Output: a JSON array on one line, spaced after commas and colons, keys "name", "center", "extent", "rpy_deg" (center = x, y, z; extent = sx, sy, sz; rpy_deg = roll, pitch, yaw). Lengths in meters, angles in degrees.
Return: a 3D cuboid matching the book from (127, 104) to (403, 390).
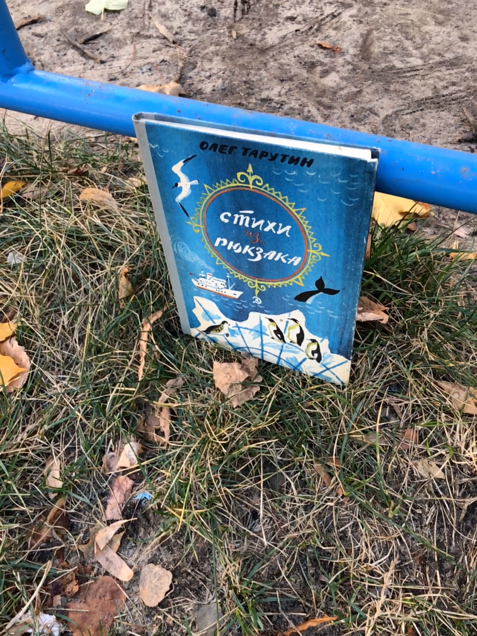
[{"name": "book", "center": [0.013, -0.044, 0.409], "extent": [0.179, 0.209, 0.023], "rpy_deg": [16, 47, 16]}]
